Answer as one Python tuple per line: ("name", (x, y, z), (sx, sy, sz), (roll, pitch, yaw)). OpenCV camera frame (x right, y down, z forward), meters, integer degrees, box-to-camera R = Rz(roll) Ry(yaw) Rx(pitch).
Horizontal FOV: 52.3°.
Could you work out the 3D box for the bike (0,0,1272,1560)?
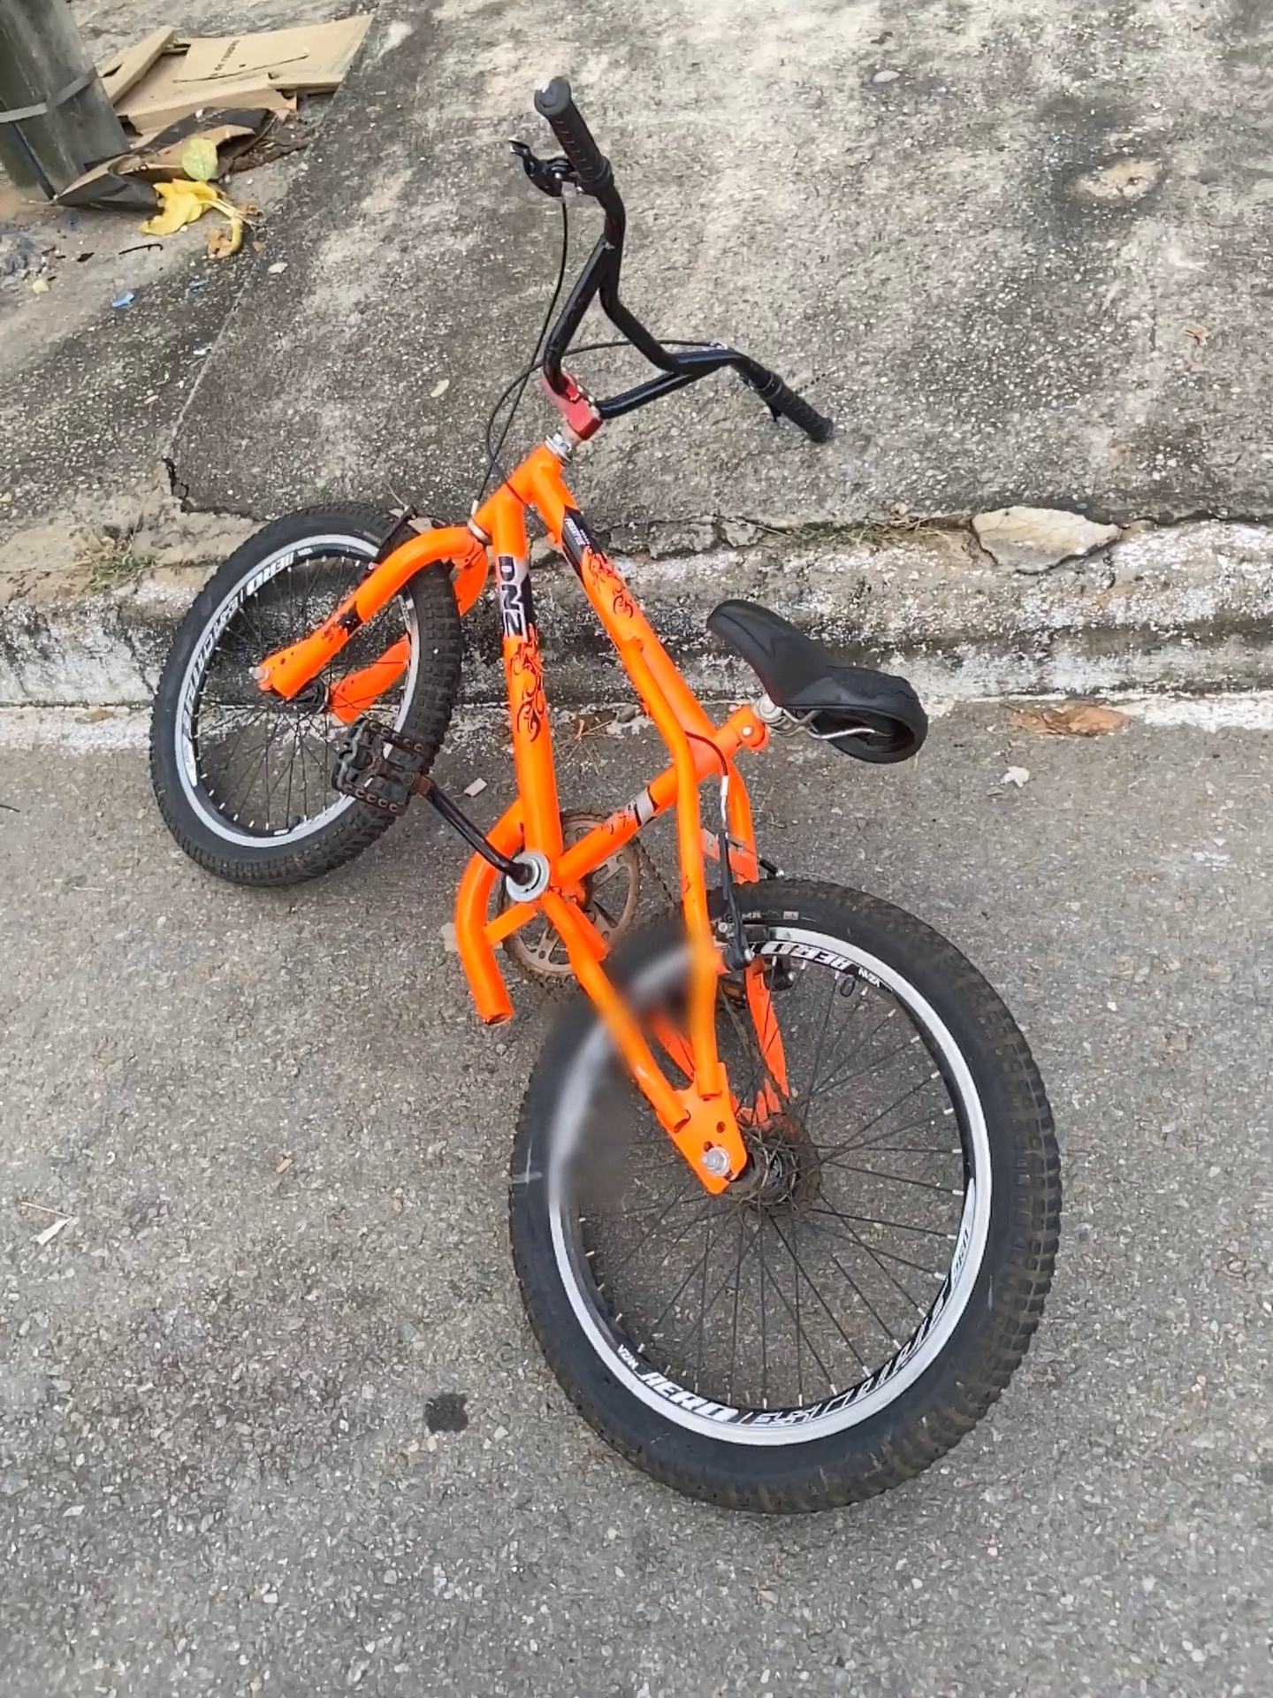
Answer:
("bike", (0.087, -0.261, 1.278), (0.746, 0.857, 1.359), (-31, 51, -16))
